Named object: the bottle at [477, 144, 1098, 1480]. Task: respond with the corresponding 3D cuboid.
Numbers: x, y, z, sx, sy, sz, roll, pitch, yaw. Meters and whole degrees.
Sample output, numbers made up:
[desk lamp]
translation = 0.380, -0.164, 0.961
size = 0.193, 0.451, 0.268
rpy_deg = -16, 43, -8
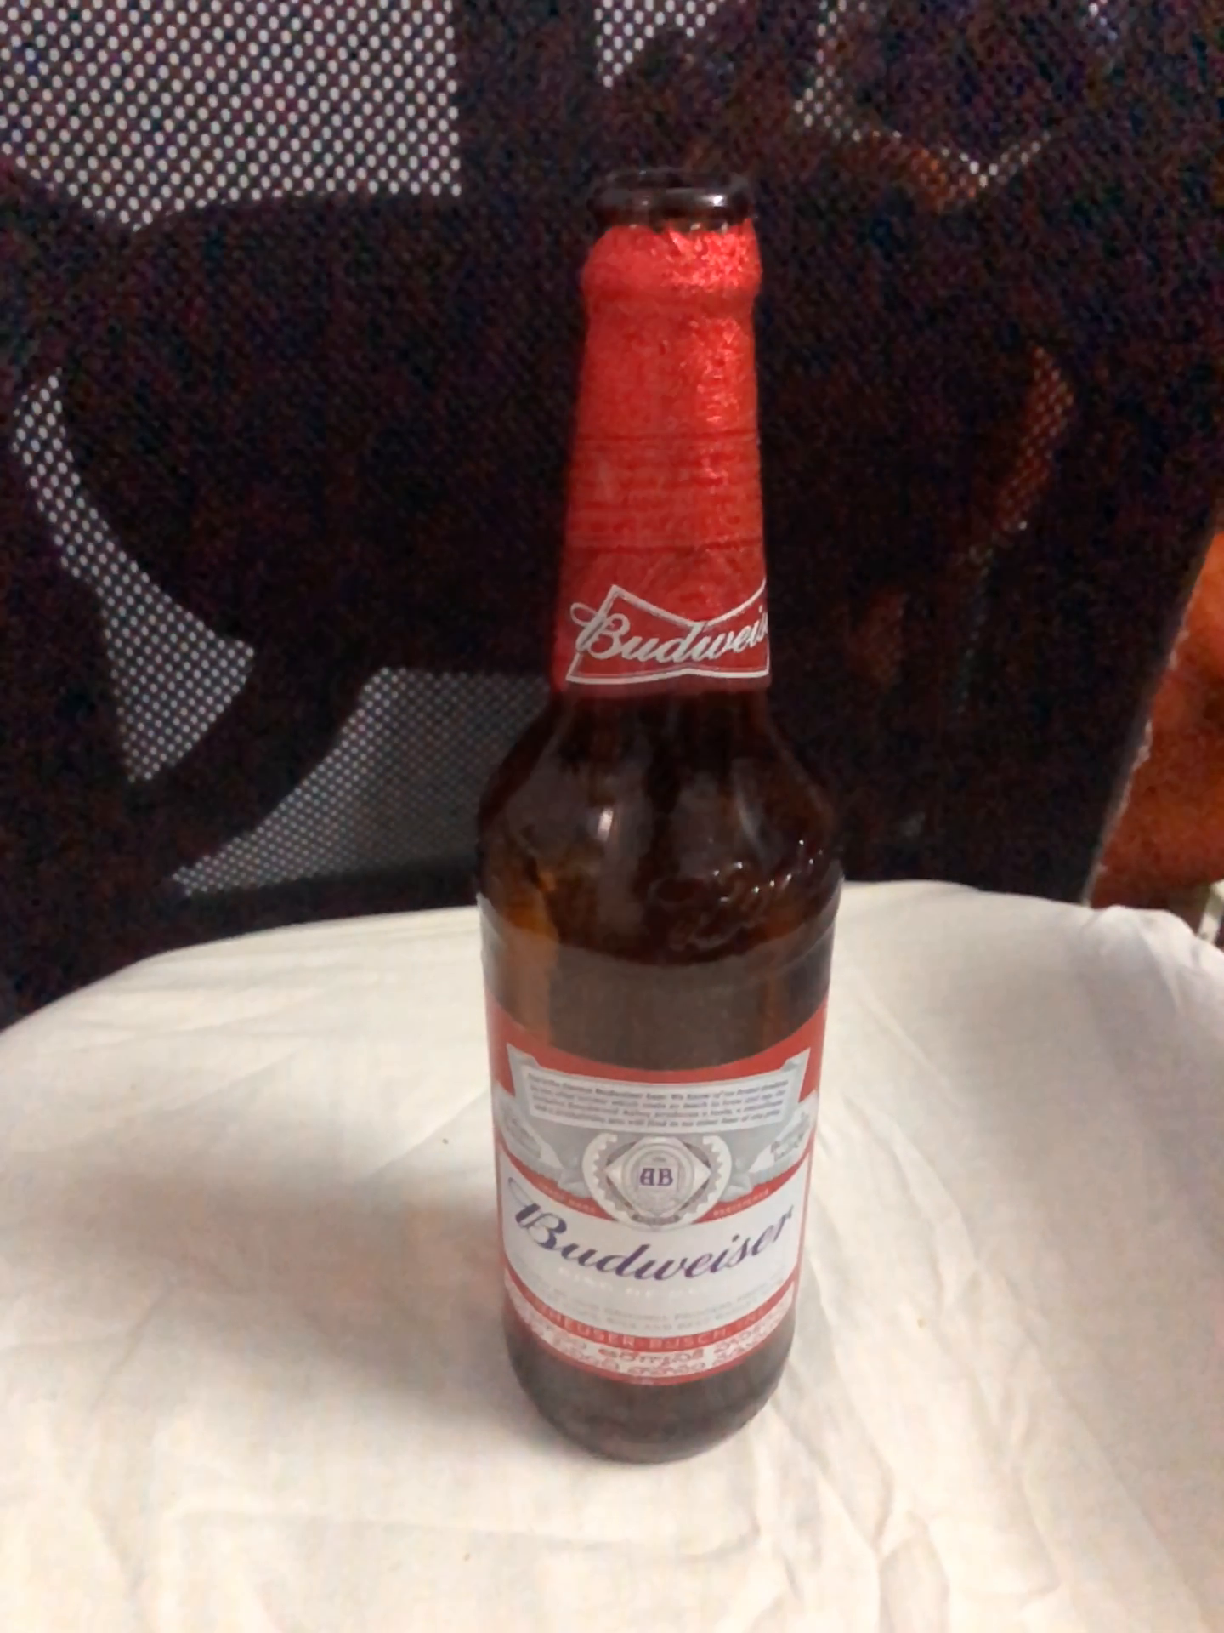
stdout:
[bottle]
translation = 0.015, 0.022, 0.280
size = 0.080, 0.278, 0.070
rpy_deg = -1, 34, -6
